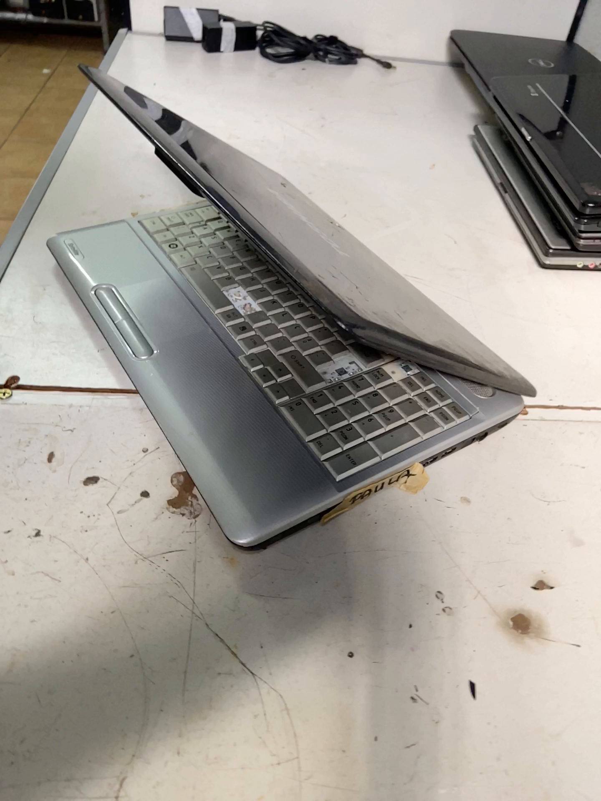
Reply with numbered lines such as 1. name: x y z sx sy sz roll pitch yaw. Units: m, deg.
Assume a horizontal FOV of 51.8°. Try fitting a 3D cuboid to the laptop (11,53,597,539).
1. laptop: -0.027 -0.125 0.492 0.256 0.143 0.373 -22 52 -26
